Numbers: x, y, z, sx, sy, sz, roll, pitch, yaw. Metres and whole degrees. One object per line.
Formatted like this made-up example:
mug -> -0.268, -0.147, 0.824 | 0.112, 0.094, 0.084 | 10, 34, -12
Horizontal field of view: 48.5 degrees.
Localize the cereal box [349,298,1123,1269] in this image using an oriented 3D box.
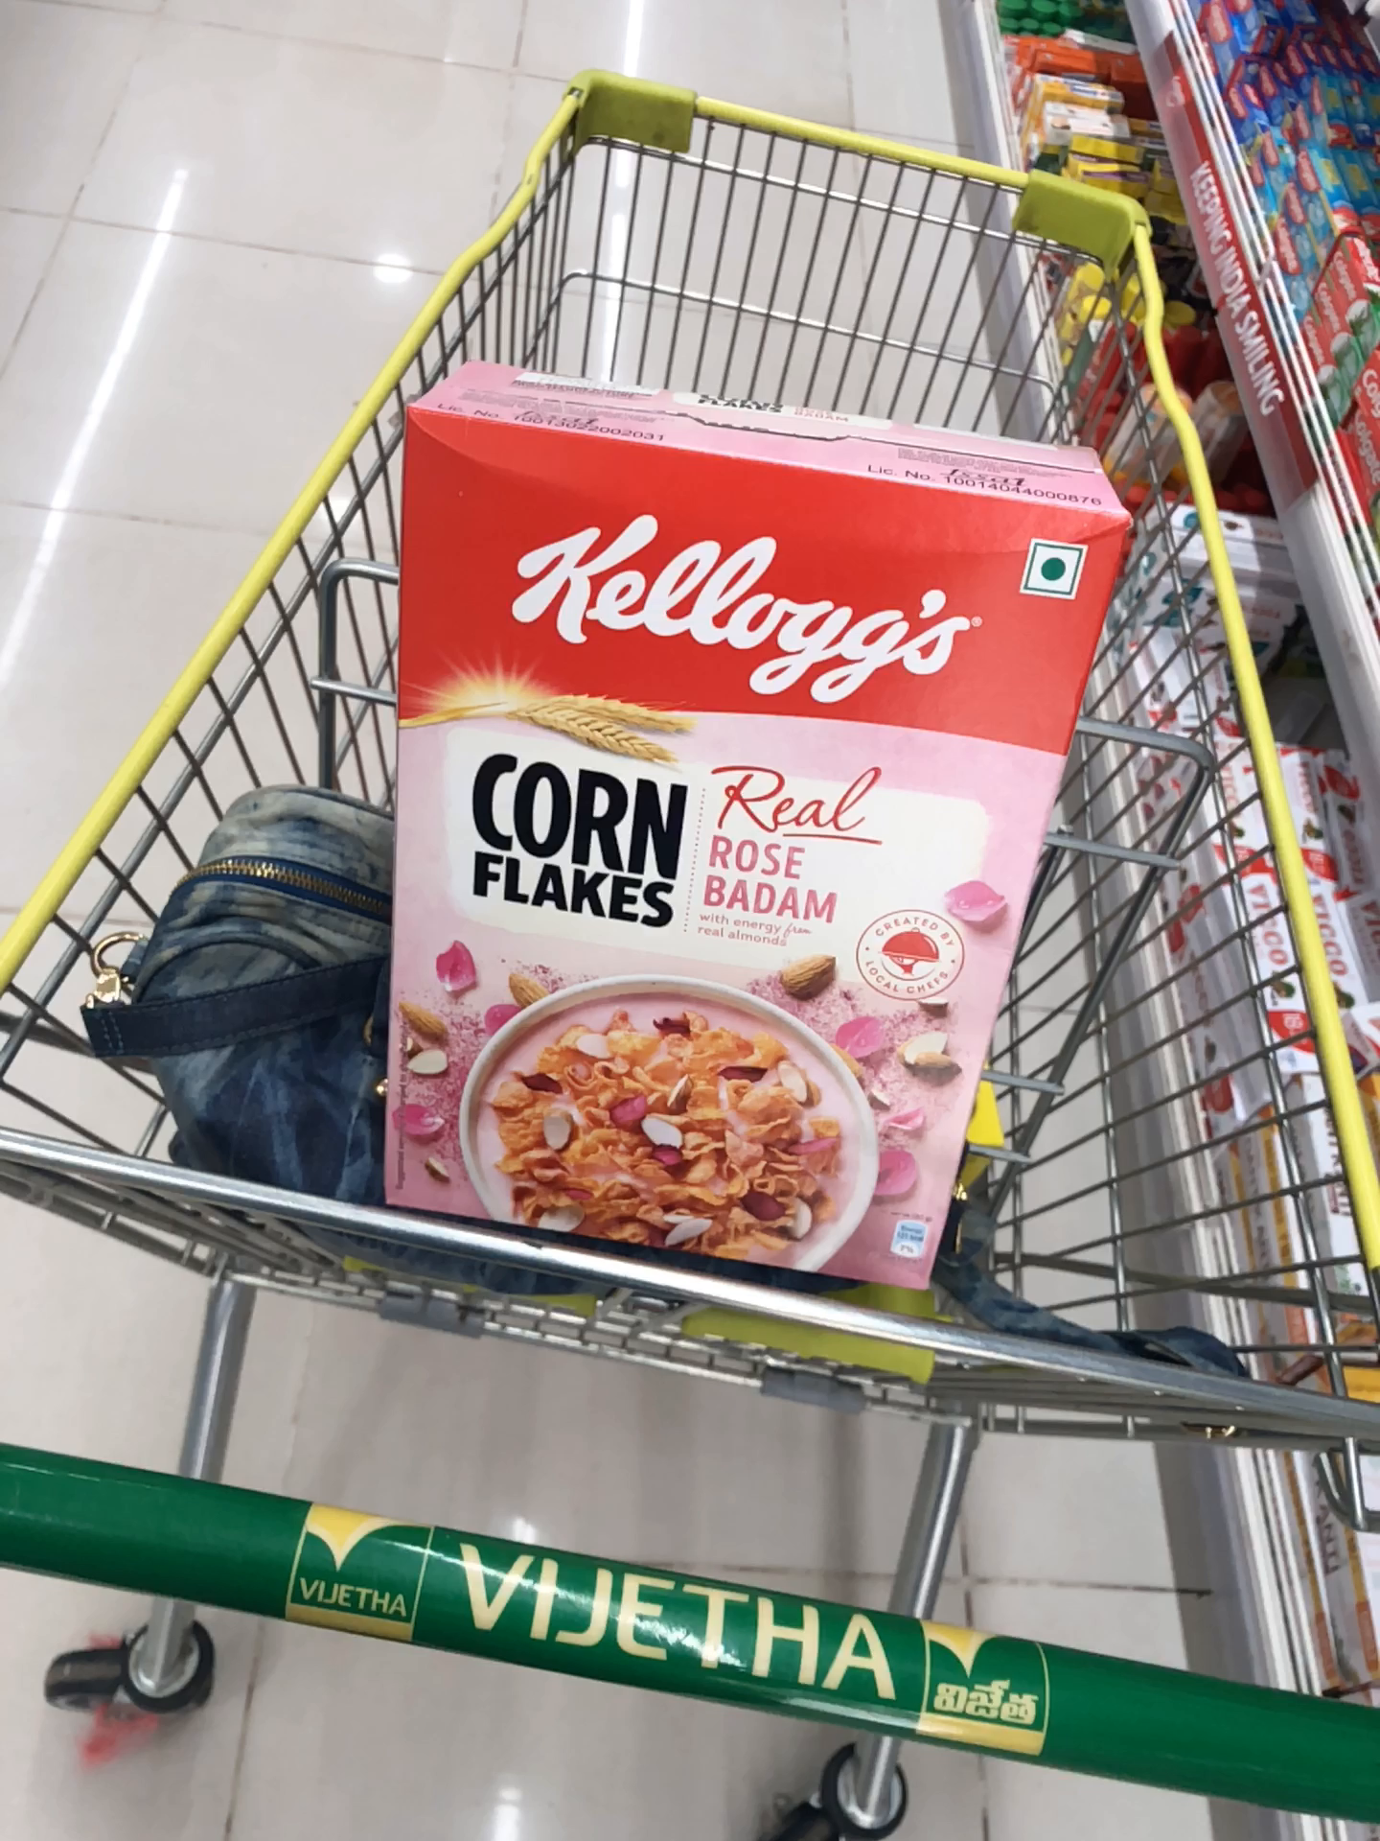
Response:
cereal box -> -0.002, -0.027, 0.480 | 0.190, 0.279, 0.070 | 9, 35, 1
